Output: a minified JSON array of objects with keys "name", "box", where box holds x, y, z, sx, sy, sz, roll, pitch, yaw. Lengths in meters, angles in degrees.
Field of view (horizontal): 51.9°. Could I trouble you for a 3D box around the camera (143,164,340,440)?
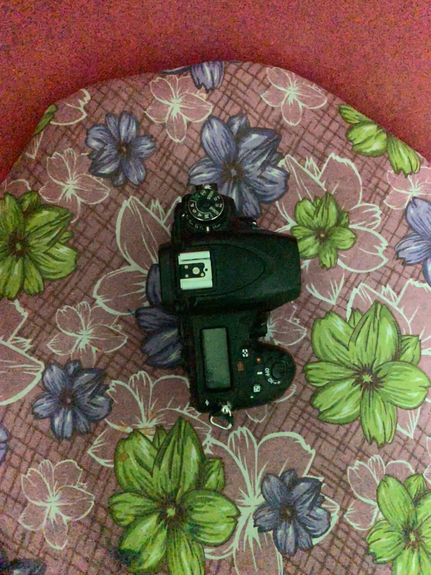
[{"name":"camera","box":[0.009,0.008,0.284,0.092,0.090,0.140,-6,88,-7]}]
